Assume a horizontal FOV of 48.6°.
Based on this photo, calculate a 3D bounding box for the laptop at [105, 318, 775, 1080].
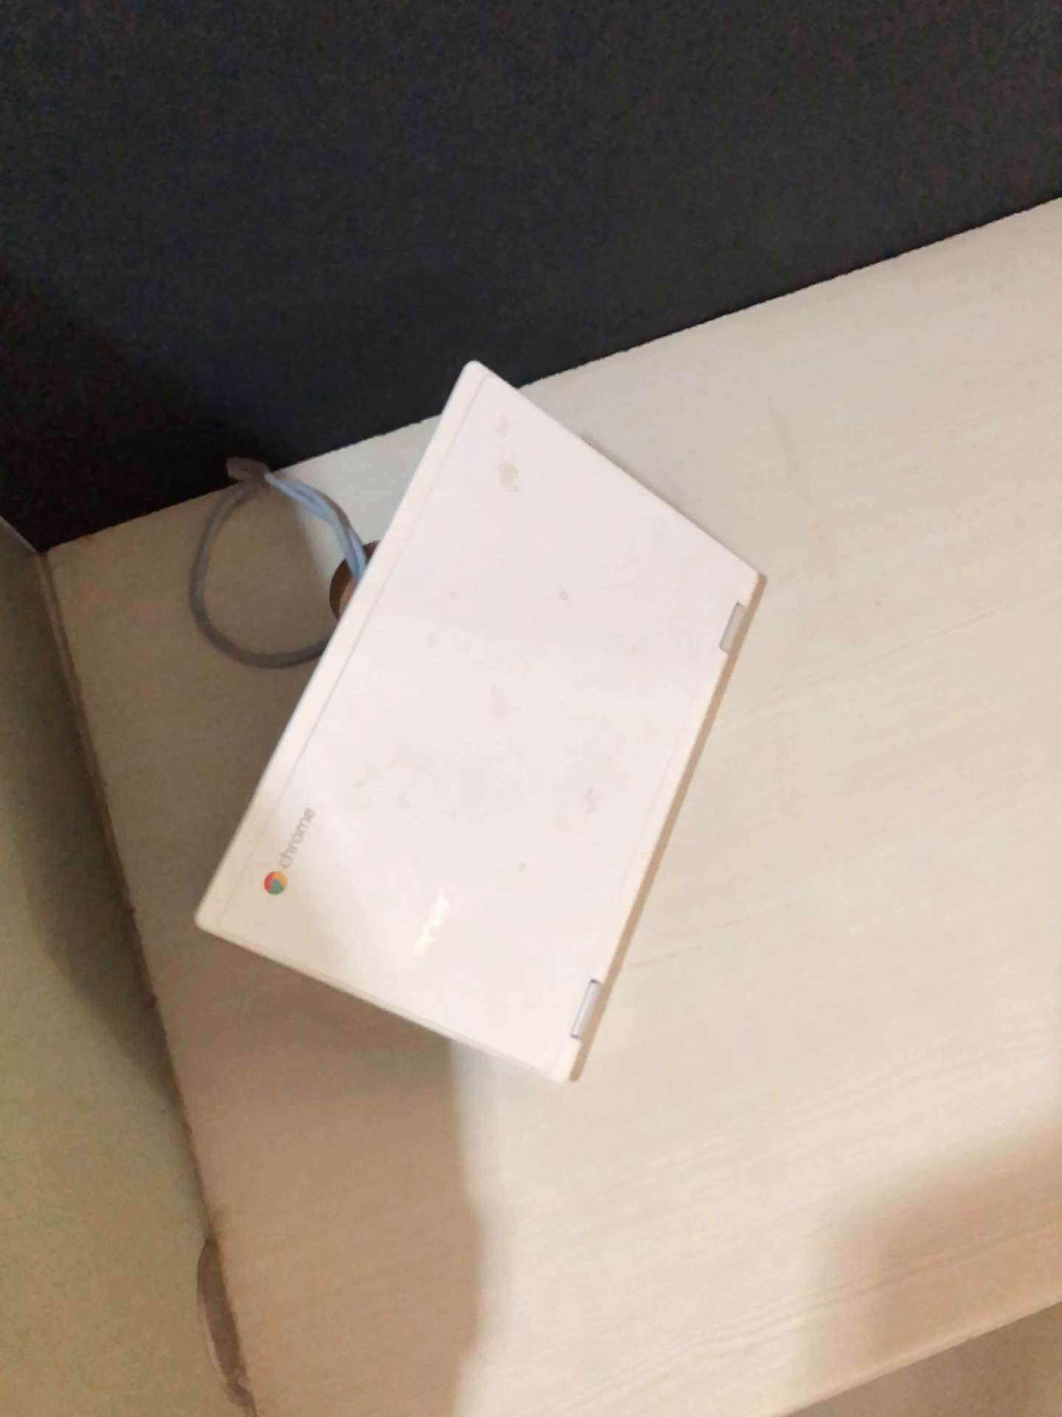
[{"bbox_3d":[-0.027,-0.003,0.552,0.187,0.115,0.285,20,74,8],"label":"laptop"}]
